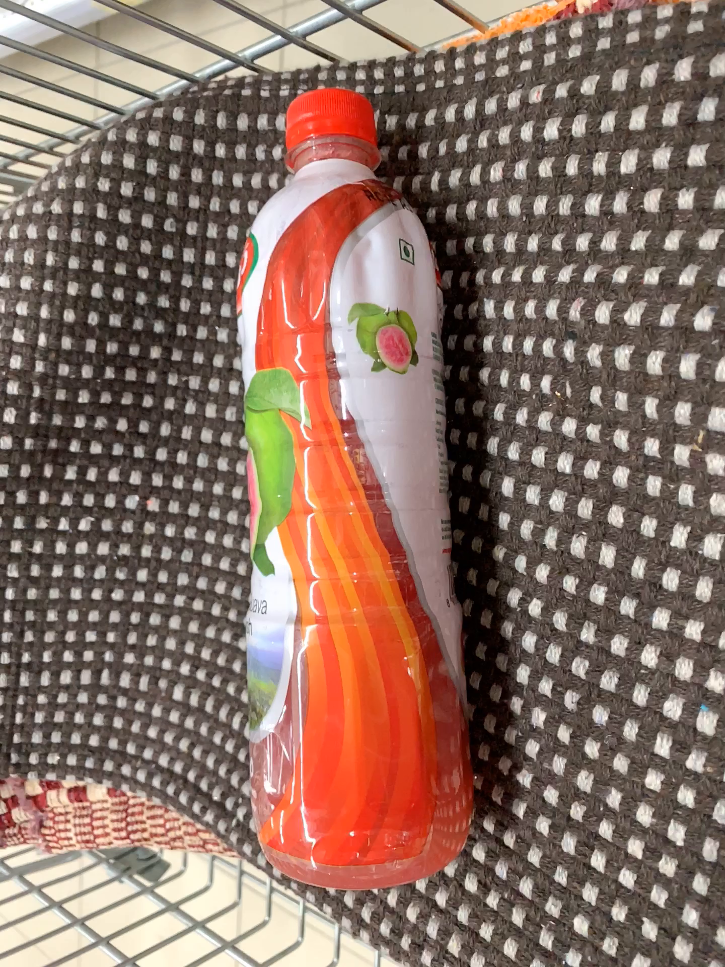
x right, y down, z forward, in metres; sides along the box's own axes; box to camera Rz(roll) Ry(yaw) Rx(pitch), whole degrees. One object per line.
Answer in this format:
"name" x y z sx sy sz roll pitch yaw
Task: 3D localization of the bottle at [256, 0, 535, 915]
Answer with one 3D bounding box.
"bottle" 0.004 -0.011 0.232 0.070 0.070 0.240 0 85 -6
